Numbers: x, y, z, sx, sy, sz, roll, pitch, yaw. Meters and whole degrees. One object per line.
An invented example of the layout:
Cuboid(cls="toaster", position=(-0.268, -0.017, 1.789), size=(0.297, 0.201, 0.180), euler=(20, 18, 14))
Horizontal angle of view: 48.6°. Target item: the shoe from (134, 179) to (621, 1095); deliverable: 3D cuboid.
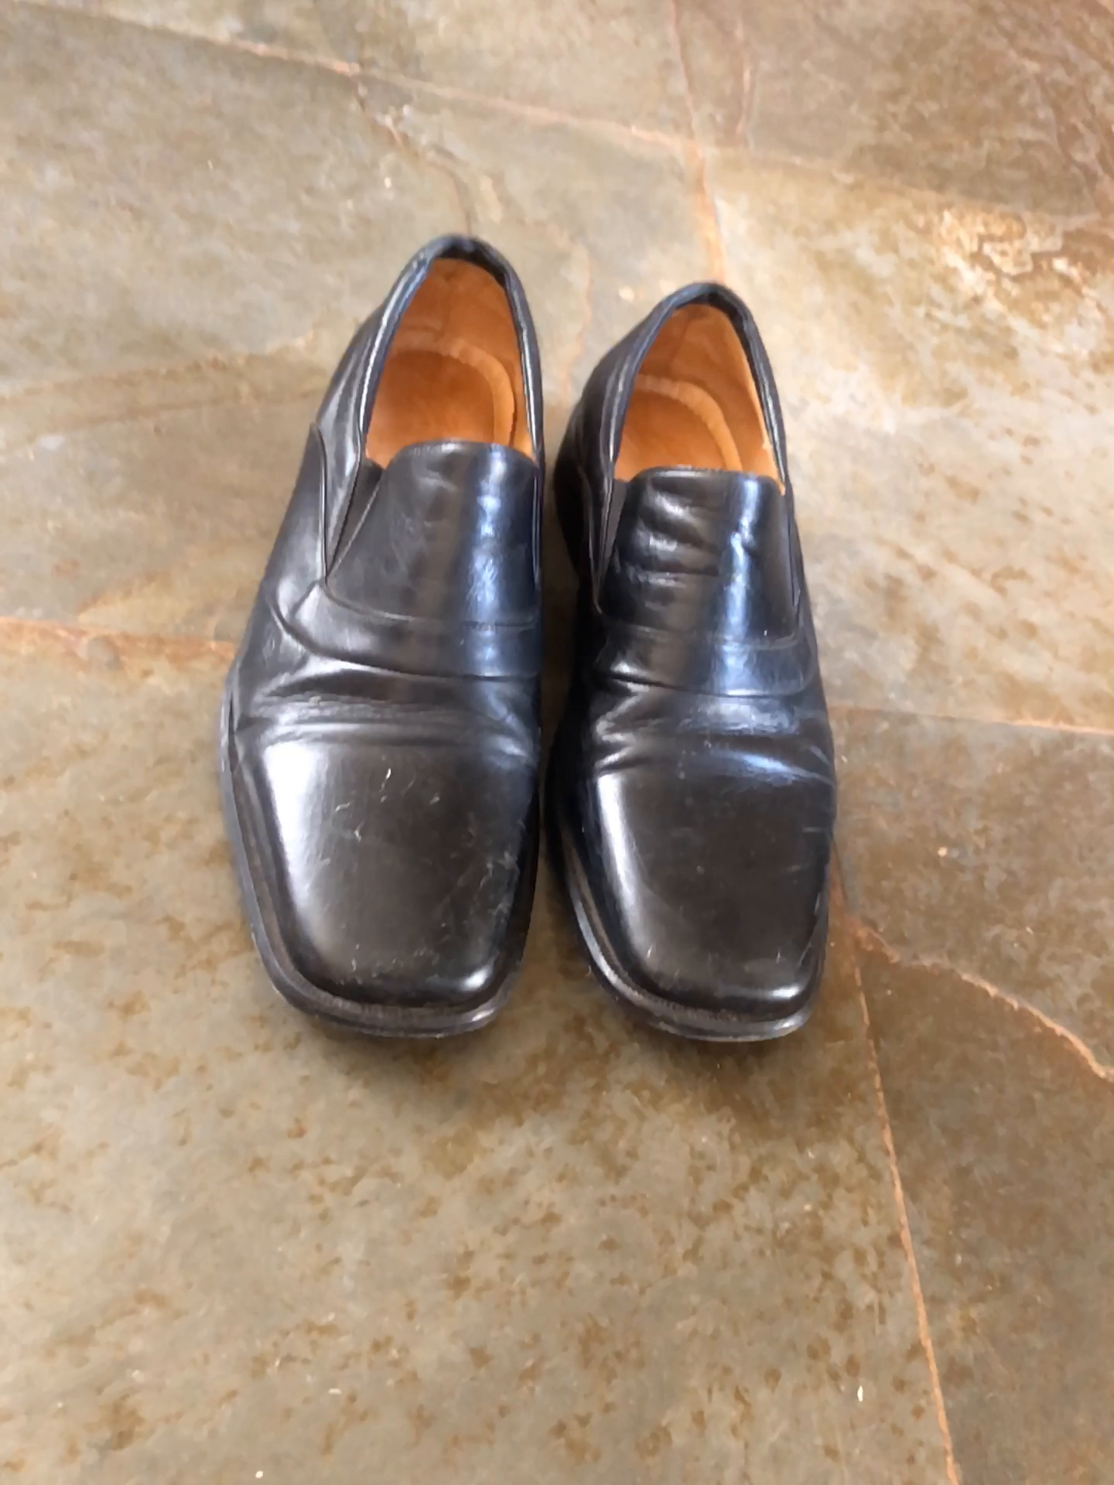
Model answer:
Cuboid(cls="shoe", position=(-0.055, -0.044, 0.403), size=(0.110, 0.109, 0.282), euler=(7, 54, -12))

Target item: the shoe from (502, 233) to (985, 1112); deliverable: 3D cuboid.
Cuboid(cls="shoe", position=(0.043, -0.034, 0.421), size=(0.100, 0.109, 0.282), euler=(7, 54, -12))
